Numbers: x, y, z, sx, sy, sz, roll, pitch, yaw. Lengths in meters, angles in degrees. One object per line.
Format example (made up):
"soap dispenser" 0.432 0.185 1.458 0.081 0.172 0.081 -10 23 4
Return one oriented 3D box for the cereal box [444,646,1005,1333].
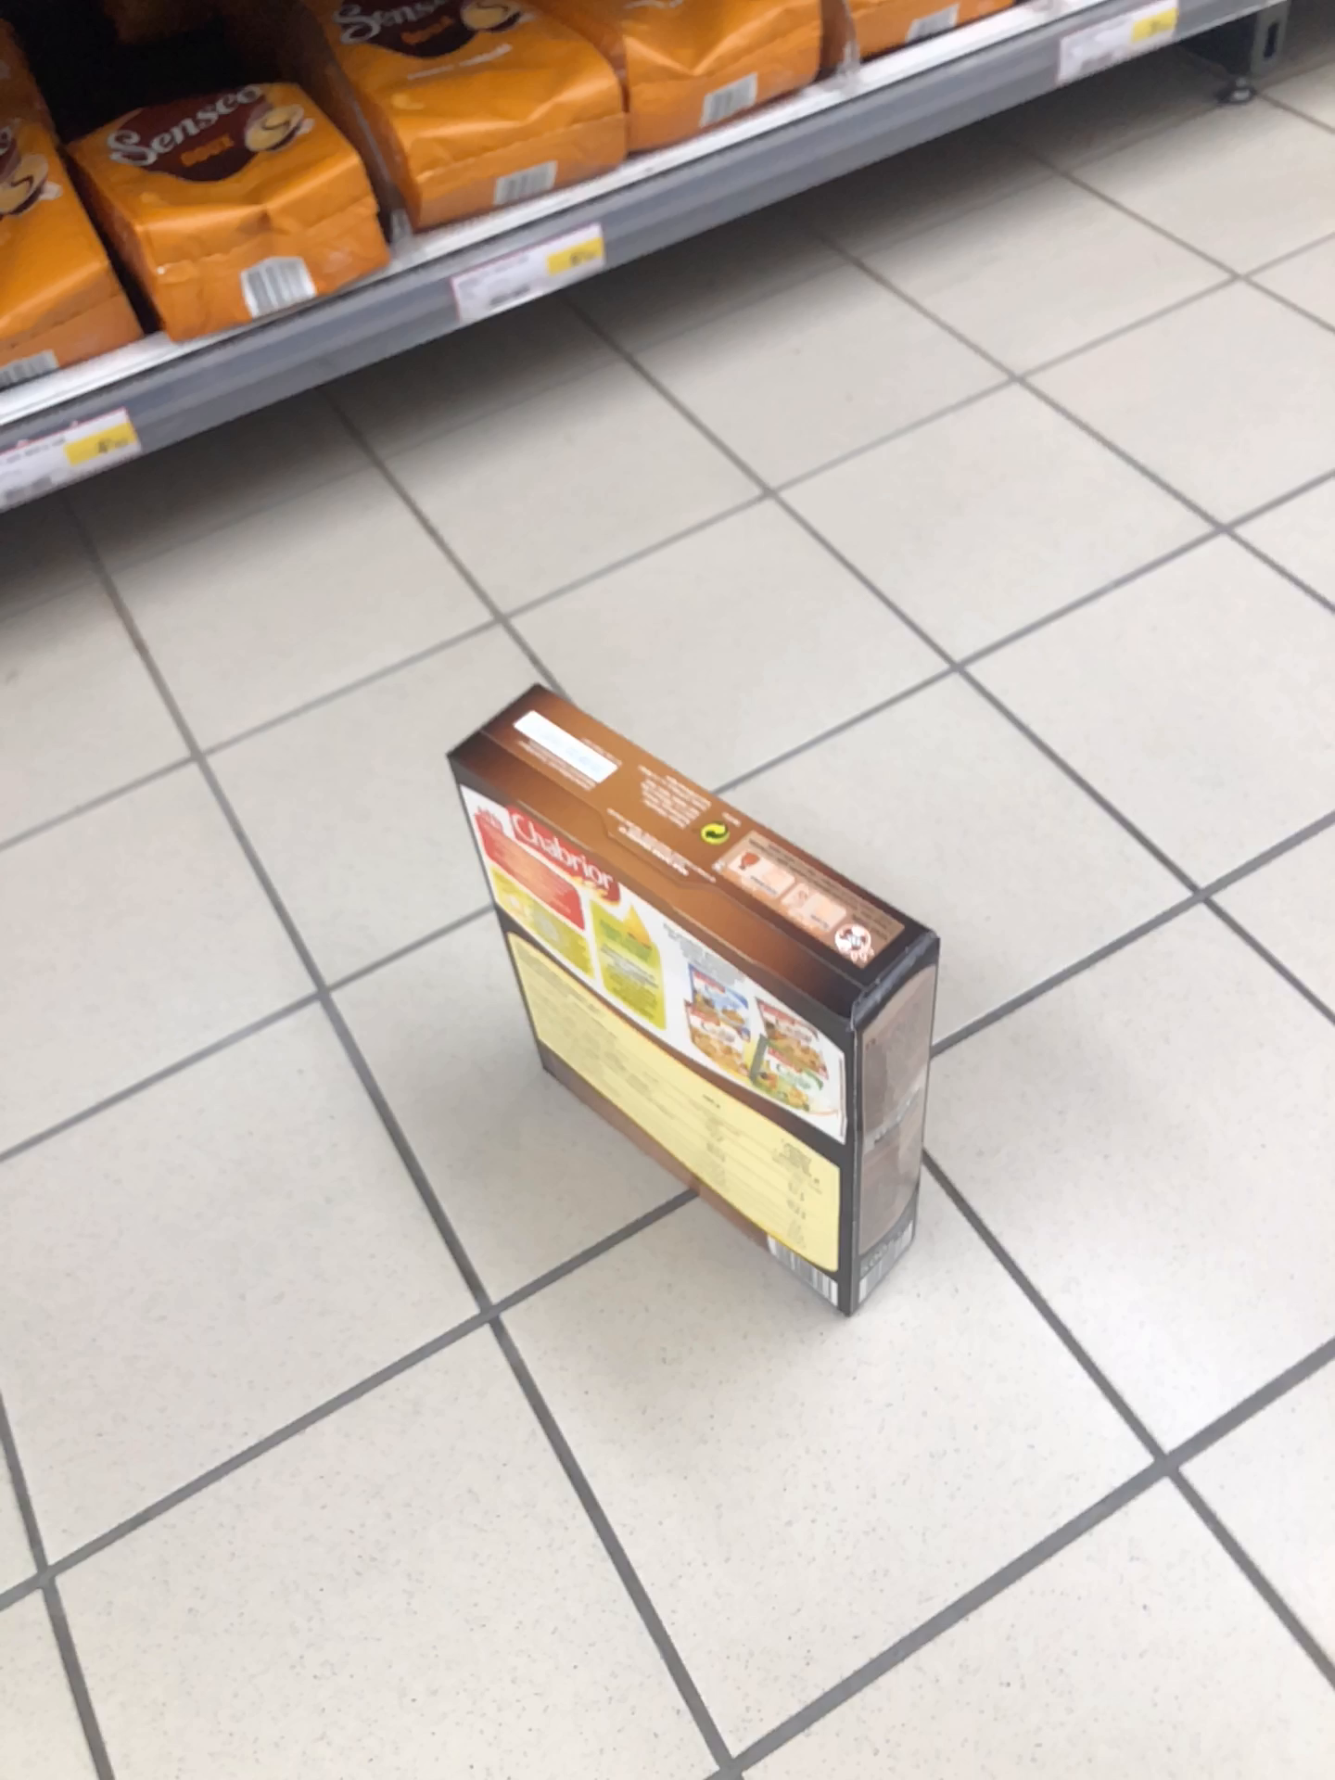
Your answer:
"cereal box" 0.024 0.046 0.586 0.200 0.229 0.060 34 63 29
